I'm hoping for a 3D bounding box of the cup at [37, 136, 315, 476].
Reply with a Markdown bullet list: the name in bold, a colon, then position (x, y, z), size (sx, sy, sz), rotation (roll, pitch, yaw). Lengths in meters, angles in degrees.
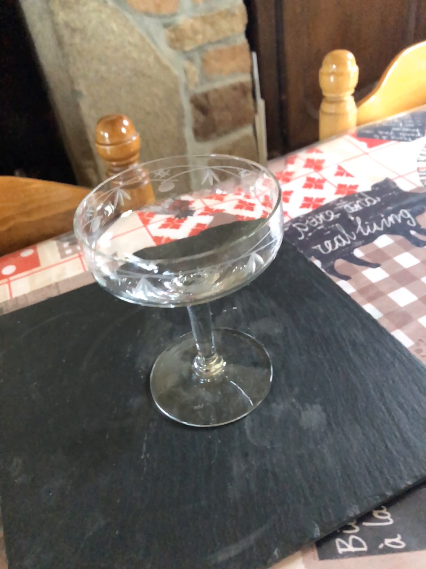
- **cup**: position (-0.013, 0.007, 0.244), size (0.090, 0.119, 0.090), rotation (-6, 38, 5)
